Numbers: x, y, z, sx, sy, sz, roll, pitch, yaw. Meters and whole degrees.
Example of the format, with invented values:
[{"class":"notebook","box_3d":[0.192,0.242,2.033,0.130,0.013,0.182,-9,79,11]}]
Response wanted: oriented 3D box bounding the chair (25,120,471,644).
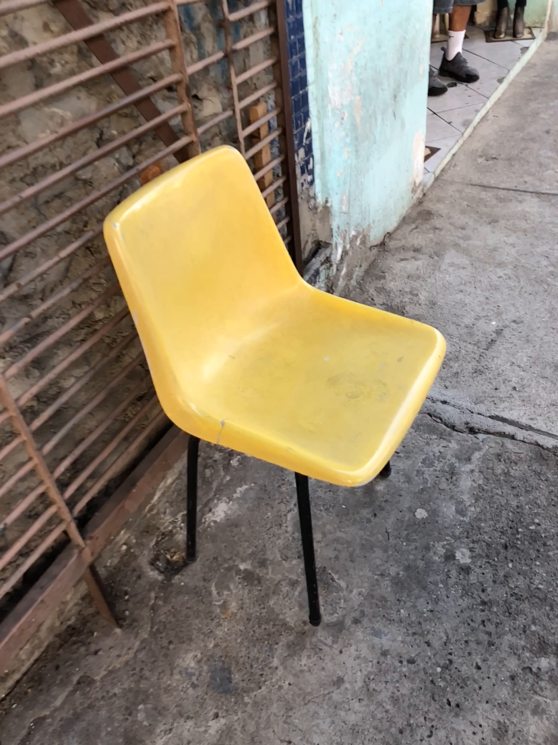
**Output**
[{"class":"chair","box_3d":[0.008,0.006,1.112,0.471,0.714,0.483,16,45,26]}]
